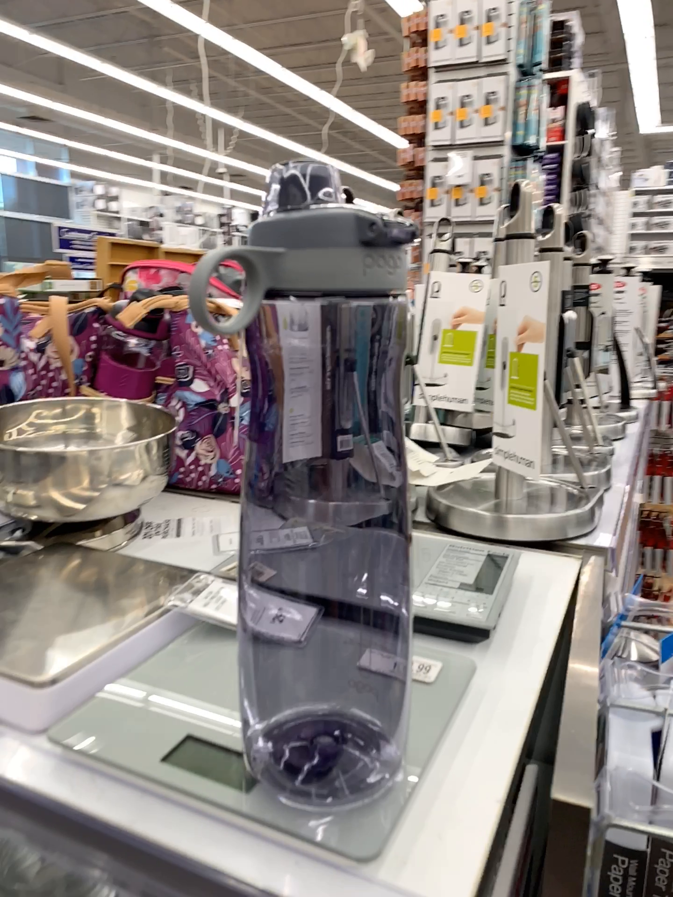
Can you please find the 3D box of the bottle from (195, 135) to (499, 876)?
[{"bbox_3d":[0.006,0.025,0.342,0.100,0.309,0.100,1,12,0],"label":"bottle"}]
